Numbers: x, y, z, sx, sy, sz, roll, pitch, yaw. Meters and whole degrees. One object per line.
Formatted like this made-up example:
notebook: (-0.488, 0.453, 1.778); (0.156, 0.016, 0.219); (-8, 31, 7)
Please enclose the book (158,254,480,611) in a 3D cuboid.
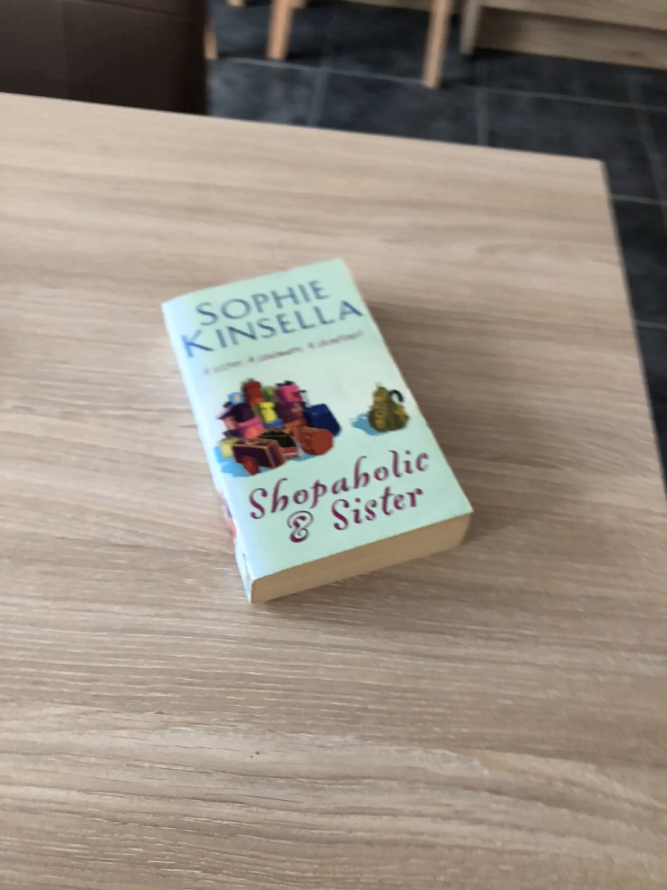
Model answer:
book: (-0.016, -0.018, 0.381); (0.107, 0.032, 0.181); (-15, 56, -13)
